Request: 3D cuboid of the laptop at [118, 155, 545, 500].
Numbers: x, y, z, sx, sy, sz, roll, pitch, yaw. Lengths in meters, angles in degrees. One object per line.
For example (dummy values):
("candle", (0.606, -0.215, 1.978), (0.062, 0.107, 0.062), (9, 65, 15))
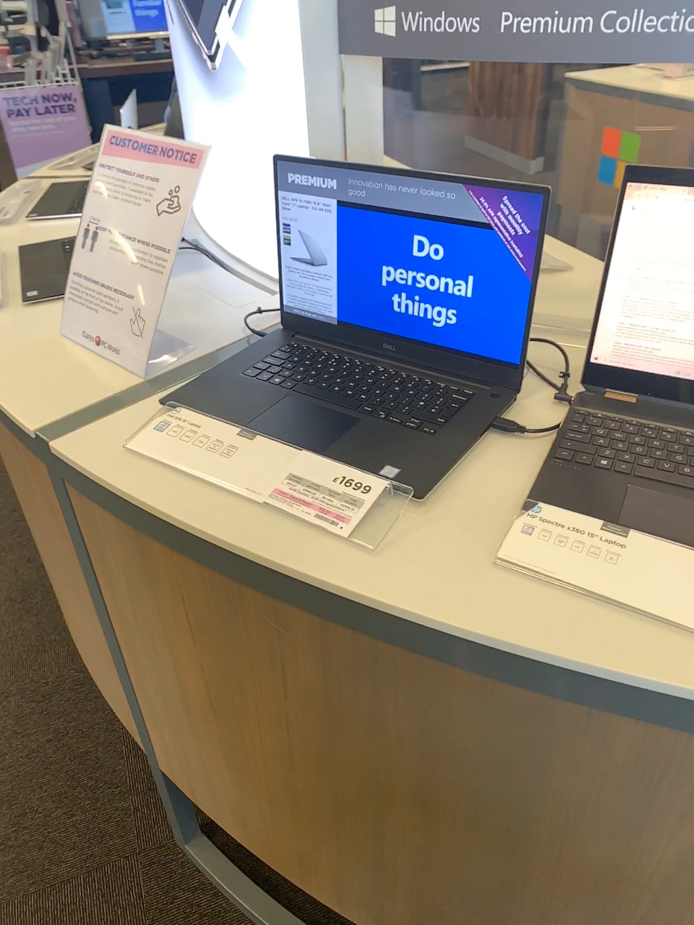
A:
("laptop", (-0.011, -0.173, 0.776), (0.351, 0.224, 0.254), (20, 40, 28))
